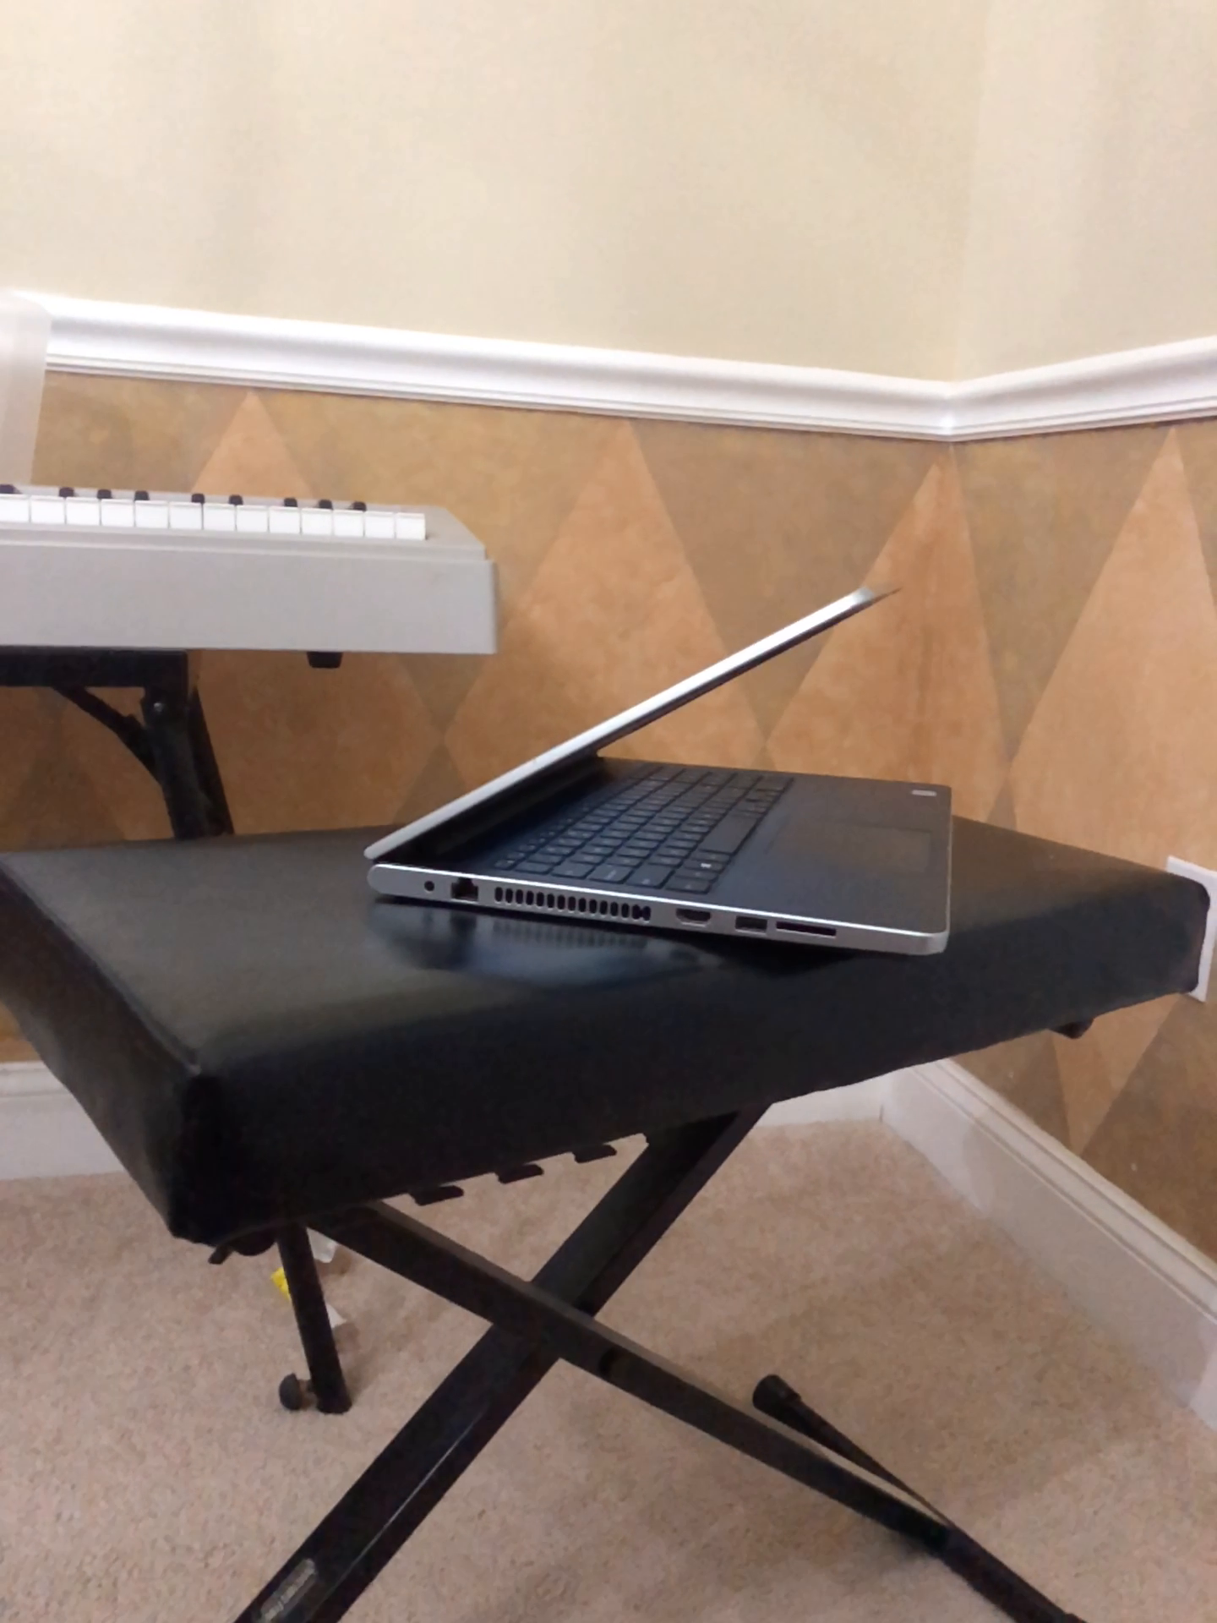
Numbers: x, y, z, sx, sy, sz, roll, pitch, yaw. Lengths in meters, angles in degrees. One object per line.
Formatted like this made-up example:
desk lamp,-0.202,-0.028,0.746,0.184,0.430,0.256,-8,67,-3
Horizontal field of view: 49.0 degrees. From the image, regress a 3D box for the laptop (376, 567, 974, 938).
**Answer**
laptop,0.068,-0.060,0.758,0.256,0.132,0.377,7,12,13
